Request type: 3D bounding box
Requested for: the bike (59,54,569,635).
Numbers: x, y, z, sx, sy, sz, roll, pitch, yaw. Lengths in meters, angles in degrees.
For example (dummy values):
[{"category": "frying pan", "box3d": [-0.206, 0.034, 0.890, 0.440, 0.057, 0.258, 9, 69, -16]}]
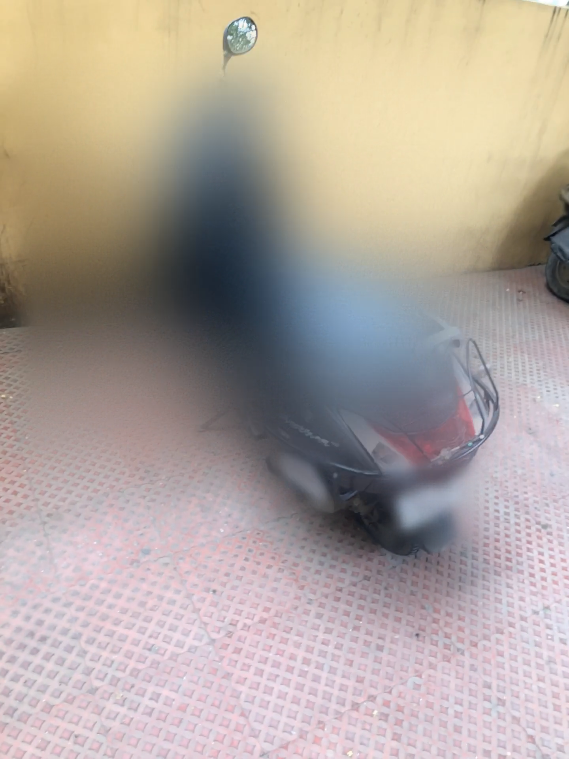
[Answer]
[{"category": "bike", "box3d": [-0.112, -0.274, 1.939, 0.594, 1.044, 1.589, -15, 40, -32]}]
